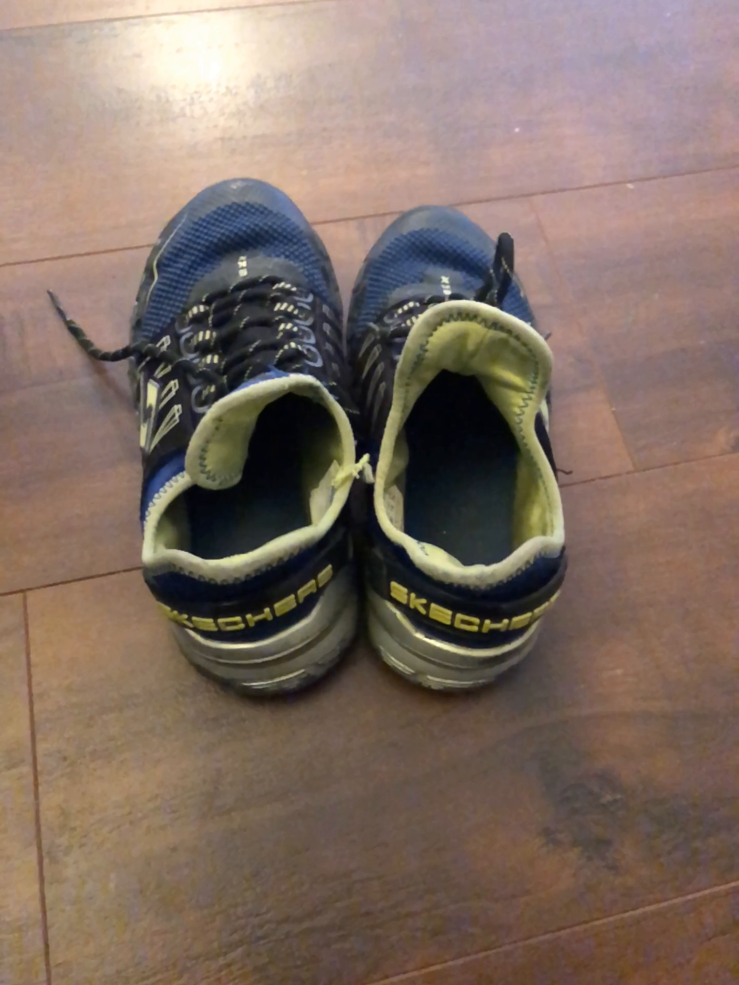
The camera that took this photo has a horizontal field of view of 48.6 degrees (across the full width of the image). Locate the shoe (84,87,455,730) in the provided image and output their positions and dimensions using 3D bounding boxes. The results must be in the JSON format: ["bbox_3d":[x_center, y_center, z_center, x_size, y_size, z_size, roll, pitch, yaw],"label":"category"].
[{"bbox_3d":[-0.044,-0.030,0.320,0.100,0.120,0.211,-6,66,-6],"label":"shoe"}]

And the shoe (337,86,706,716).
[{"bbox_3d":[0.043,-0.031,0.322,0.100,0.120,0.211,3,66,-2],"label":"shoe"}]
